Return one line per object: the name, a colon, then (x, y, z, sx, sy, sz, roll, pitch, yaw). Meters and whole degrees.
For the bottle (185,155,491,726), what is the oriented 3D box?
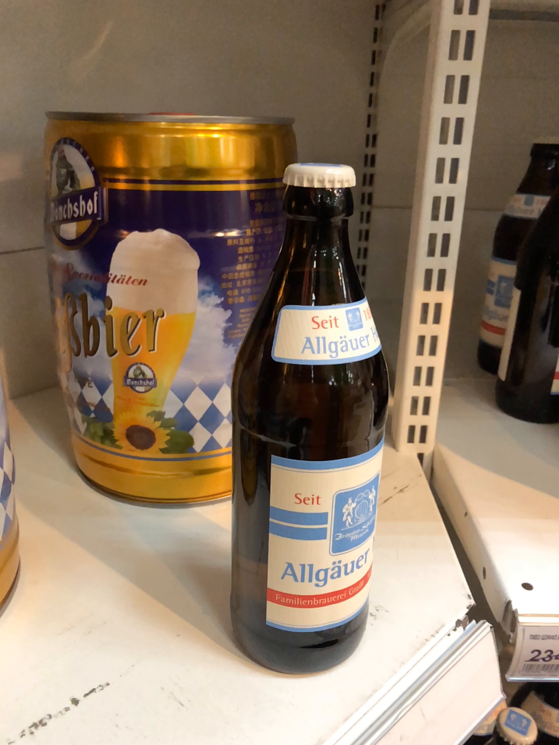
bottle: (0.019, 0.024, 0.271, 0.080, 0.219, 0.080, 1, 22, 0)
